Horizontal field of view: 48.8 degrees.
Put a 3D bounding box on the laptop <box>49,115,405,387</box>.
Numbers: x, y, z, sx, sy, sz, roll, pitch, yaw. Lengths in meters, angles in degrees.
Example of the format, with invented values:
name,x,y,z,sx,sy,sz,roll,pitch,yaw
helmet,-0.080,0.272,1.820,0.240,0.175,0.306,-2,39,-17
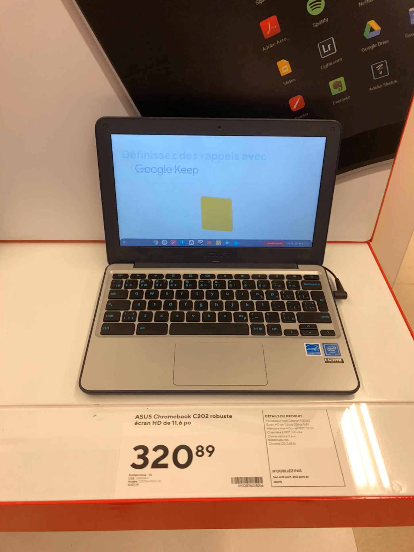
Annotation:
name,x,y,z,sx,sy,sz,roll,pitch,yaw
laptop,0.014,-0.035,0.491,0.274,0.174,0.231,0,42,-2
